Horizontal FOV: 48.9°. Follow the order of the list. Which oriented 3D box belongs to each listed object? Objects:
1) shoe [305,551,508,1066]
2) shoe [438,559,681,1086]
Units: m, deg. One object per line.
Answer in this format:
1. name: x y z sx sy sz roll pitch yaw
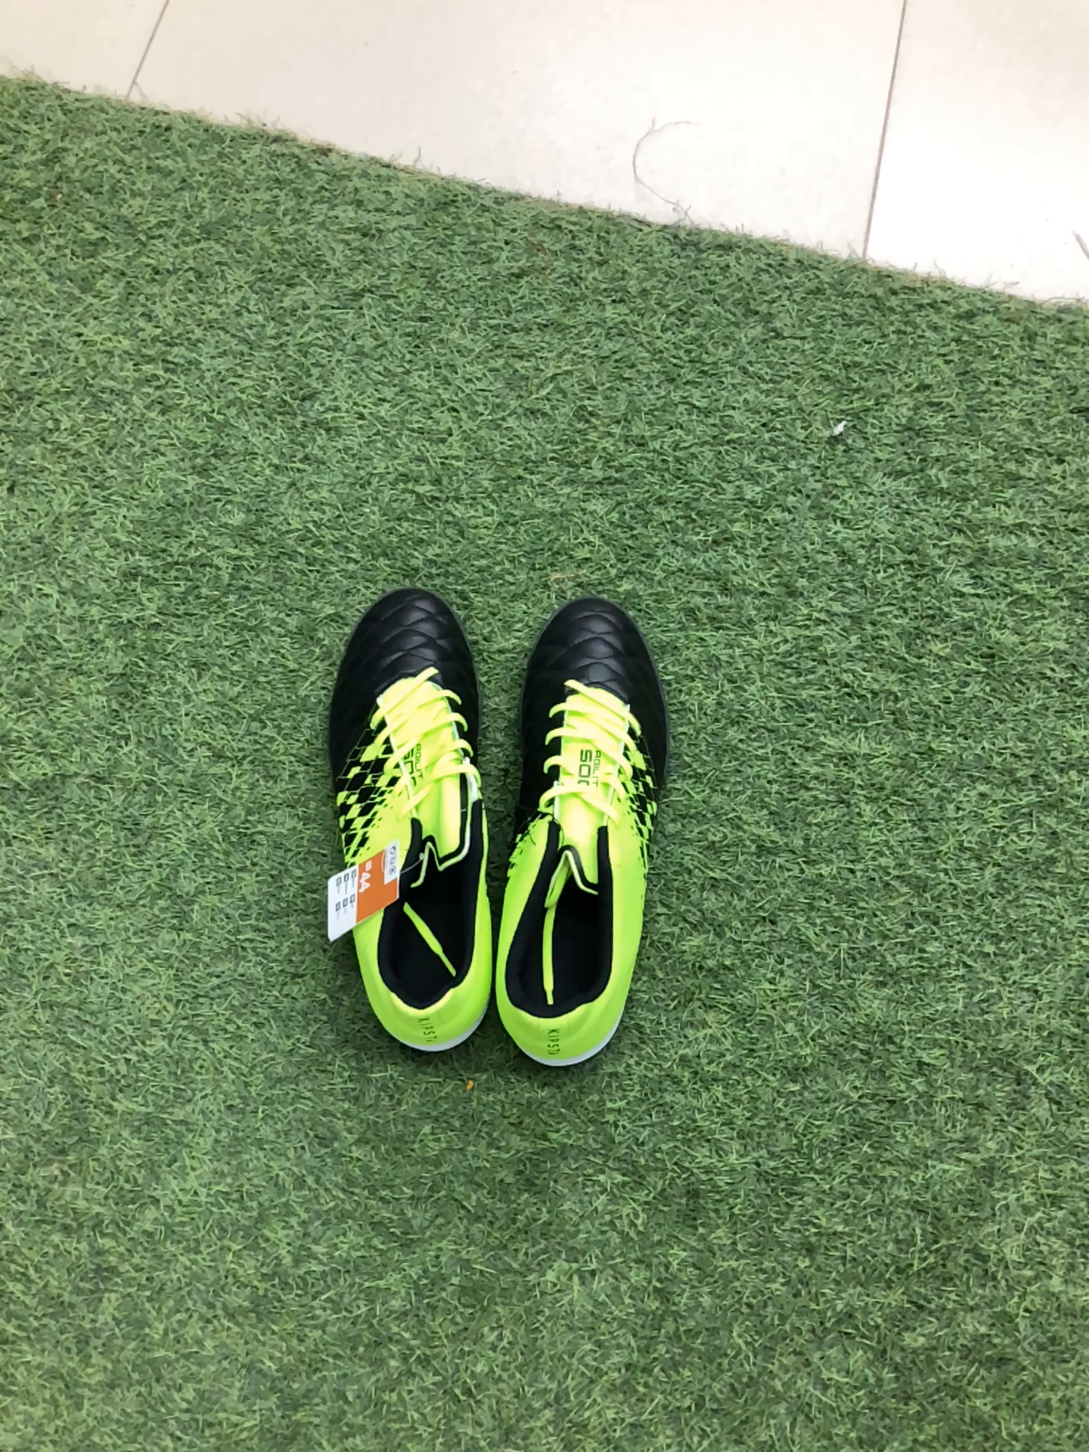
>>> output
1. shoe: -0.080 0.048 0.698 0.100 0.090 0.281 -3 71 -1
2. shoe: 0.013 0.055 0.690 0.100 0.090 0.281 6 71 2
